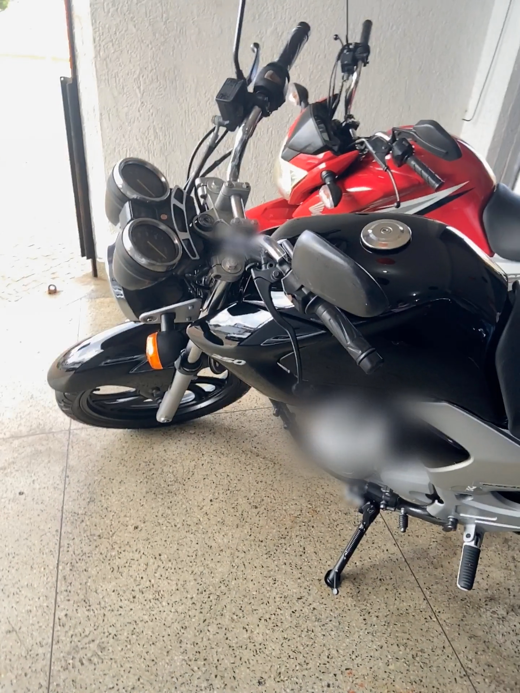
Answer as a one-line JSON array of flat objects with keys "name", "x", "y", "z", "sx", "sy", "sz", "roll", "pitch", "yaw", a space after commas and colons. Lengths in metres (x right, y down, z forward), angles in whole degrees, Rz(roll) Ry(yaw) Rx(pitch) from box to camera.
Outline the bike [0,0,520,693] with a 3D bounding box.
[{"name": "bike", "x": 0.426, "y": 0.131, "z": 1.184, "sx": 1.877, "sy": 1.511, "sz": 0.848, "roll": 11, "pitch": 32, "yaw": 5}]
